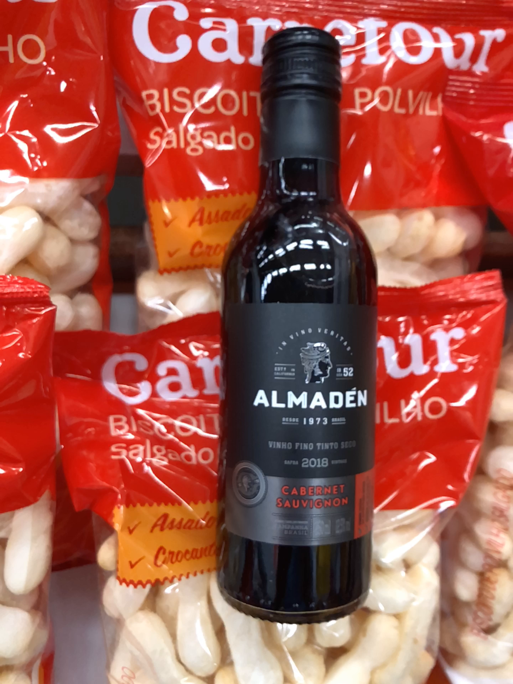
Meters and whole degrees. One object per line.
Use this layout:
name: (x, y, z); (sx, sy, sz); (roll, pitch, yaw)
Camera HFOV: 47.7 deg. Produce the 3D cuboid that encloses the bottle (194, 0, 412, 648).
bottle: (0.012, -0.014, 0.196); (0.060, 0.050, 0.200); (1, 87, -12)
